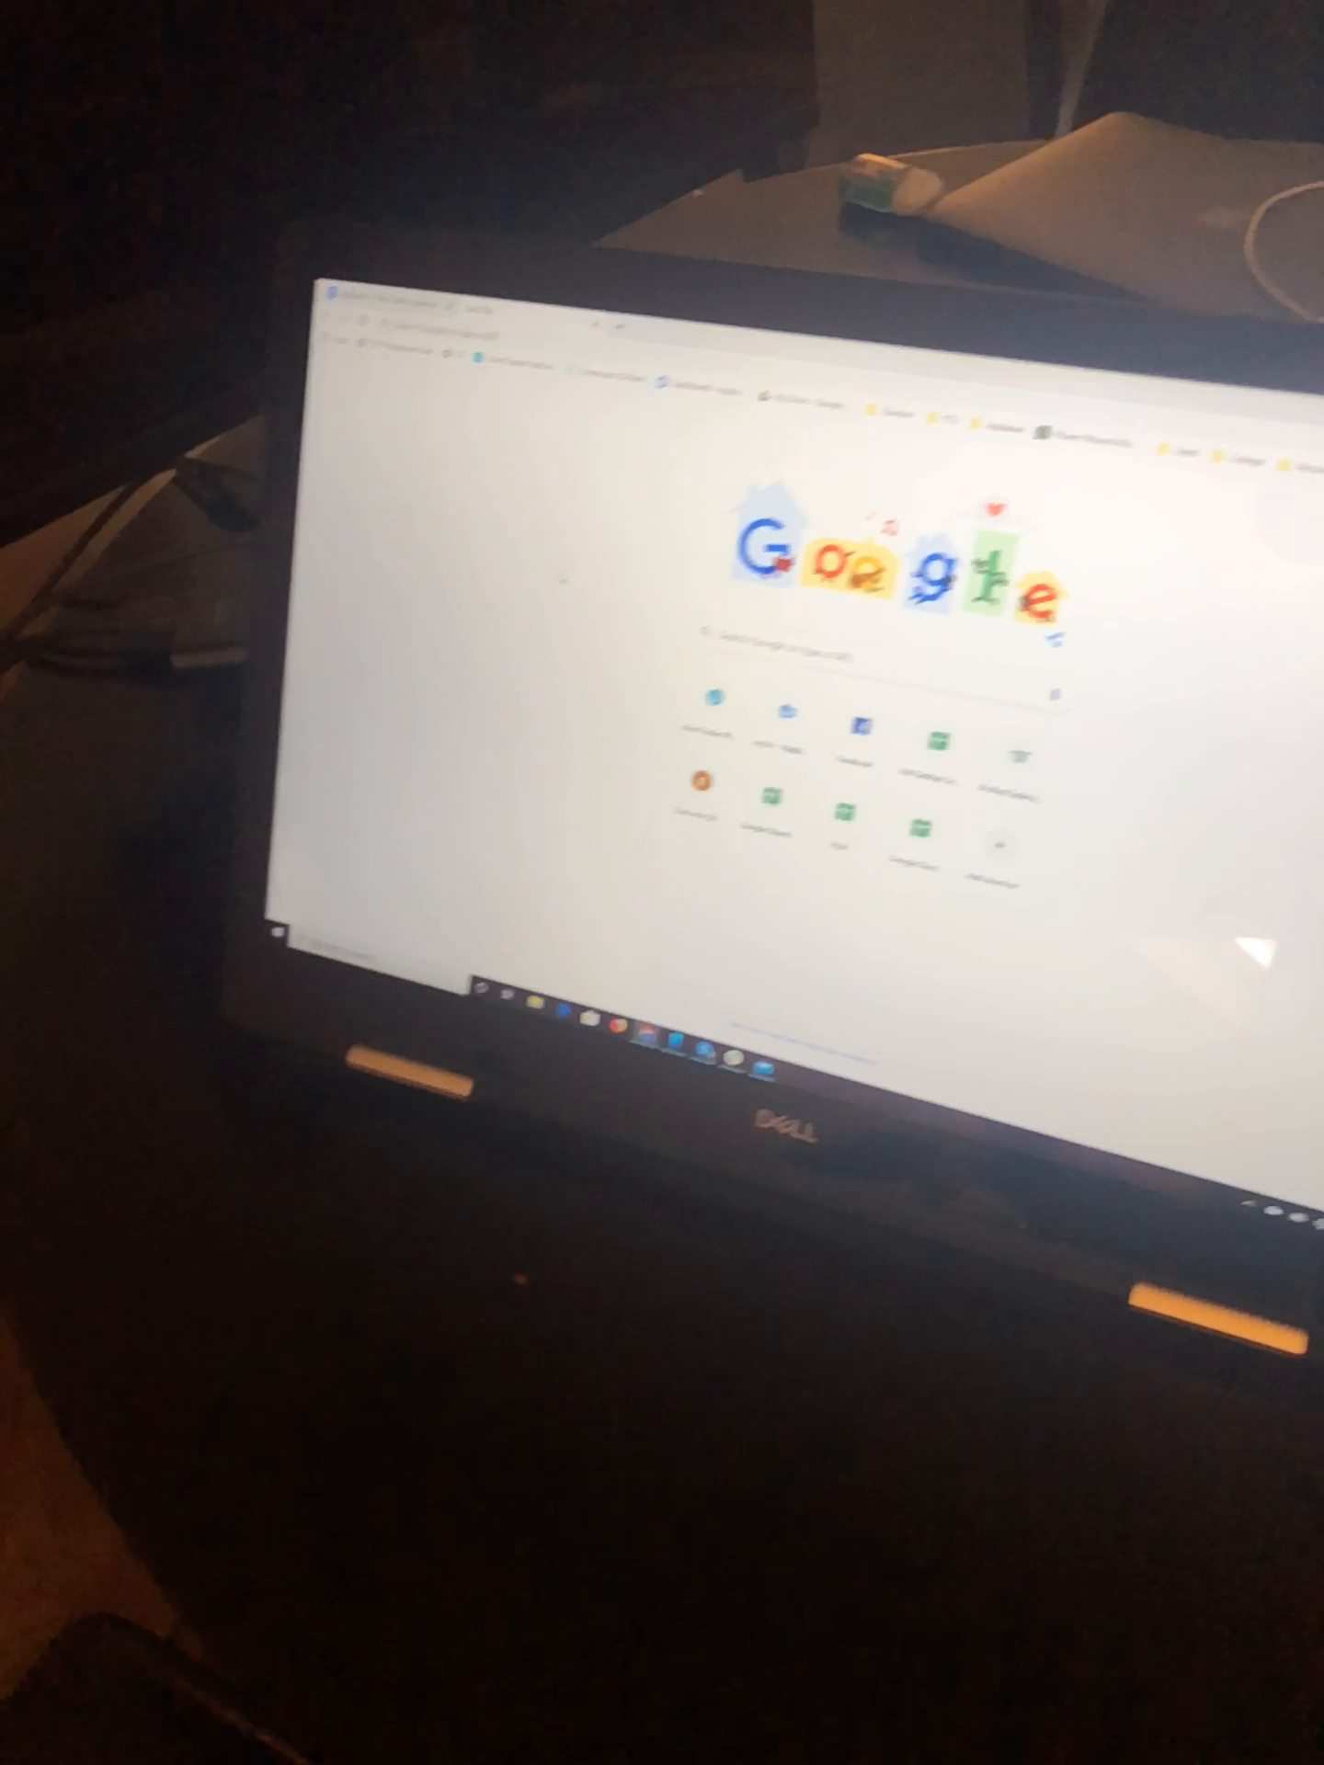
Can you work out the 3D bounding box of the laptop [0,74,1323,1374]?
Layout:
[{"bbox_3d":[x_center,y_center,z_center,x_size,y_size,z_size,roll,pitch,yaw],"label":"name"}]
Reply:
[{"bbox_3d":[0.081,-0.079,0.475,0.419,0.232,0.268,14,49,19],"label":"laptop"}]
